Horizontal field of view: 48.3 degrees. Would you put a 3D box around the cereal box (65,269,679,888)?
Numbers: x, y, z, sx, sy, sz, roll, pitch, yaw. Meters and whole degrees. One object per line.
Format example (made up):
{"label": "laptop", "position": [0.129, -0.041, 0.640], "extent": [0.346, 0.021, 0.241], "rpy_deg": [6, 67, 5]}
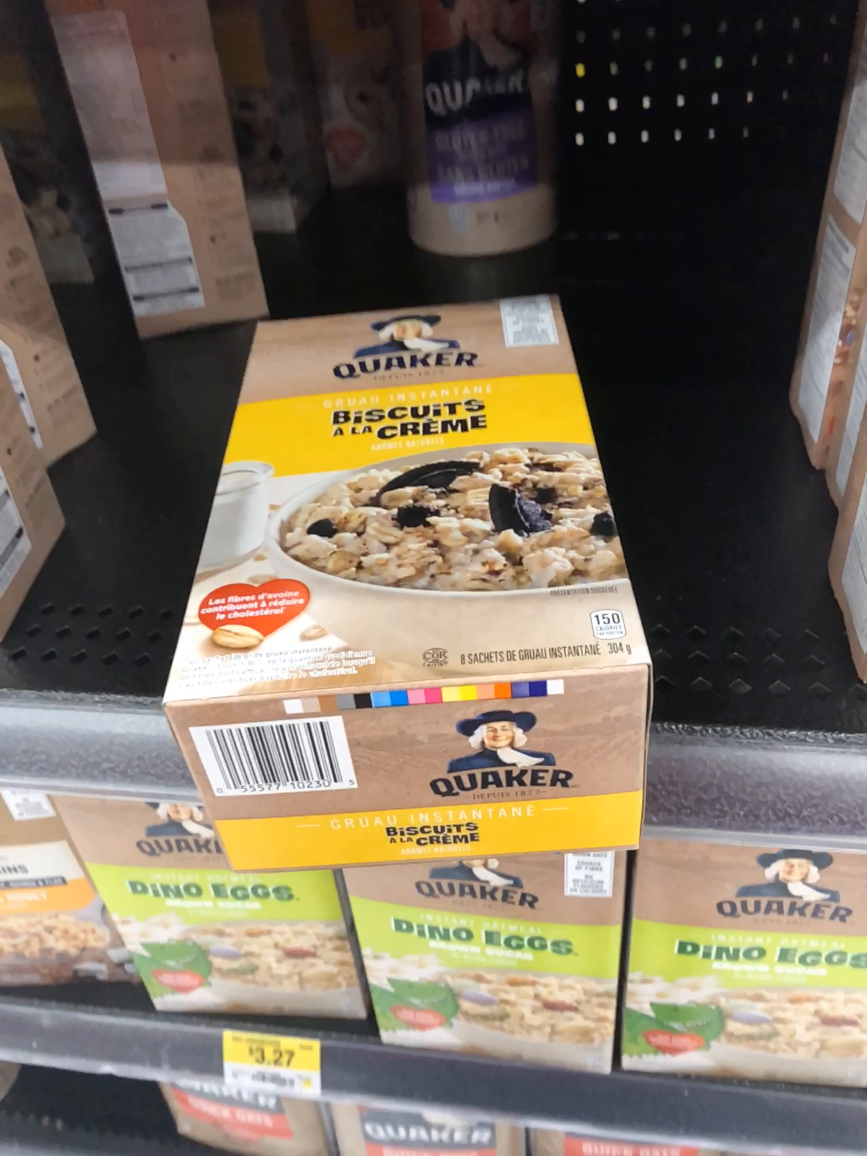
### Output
{"label": "cereal box", "position": [-0.013, -0.016, 0.320], "extent": [0.140, 0.070, 0.211], "rpy_deg": [-5, 42, 3]}
